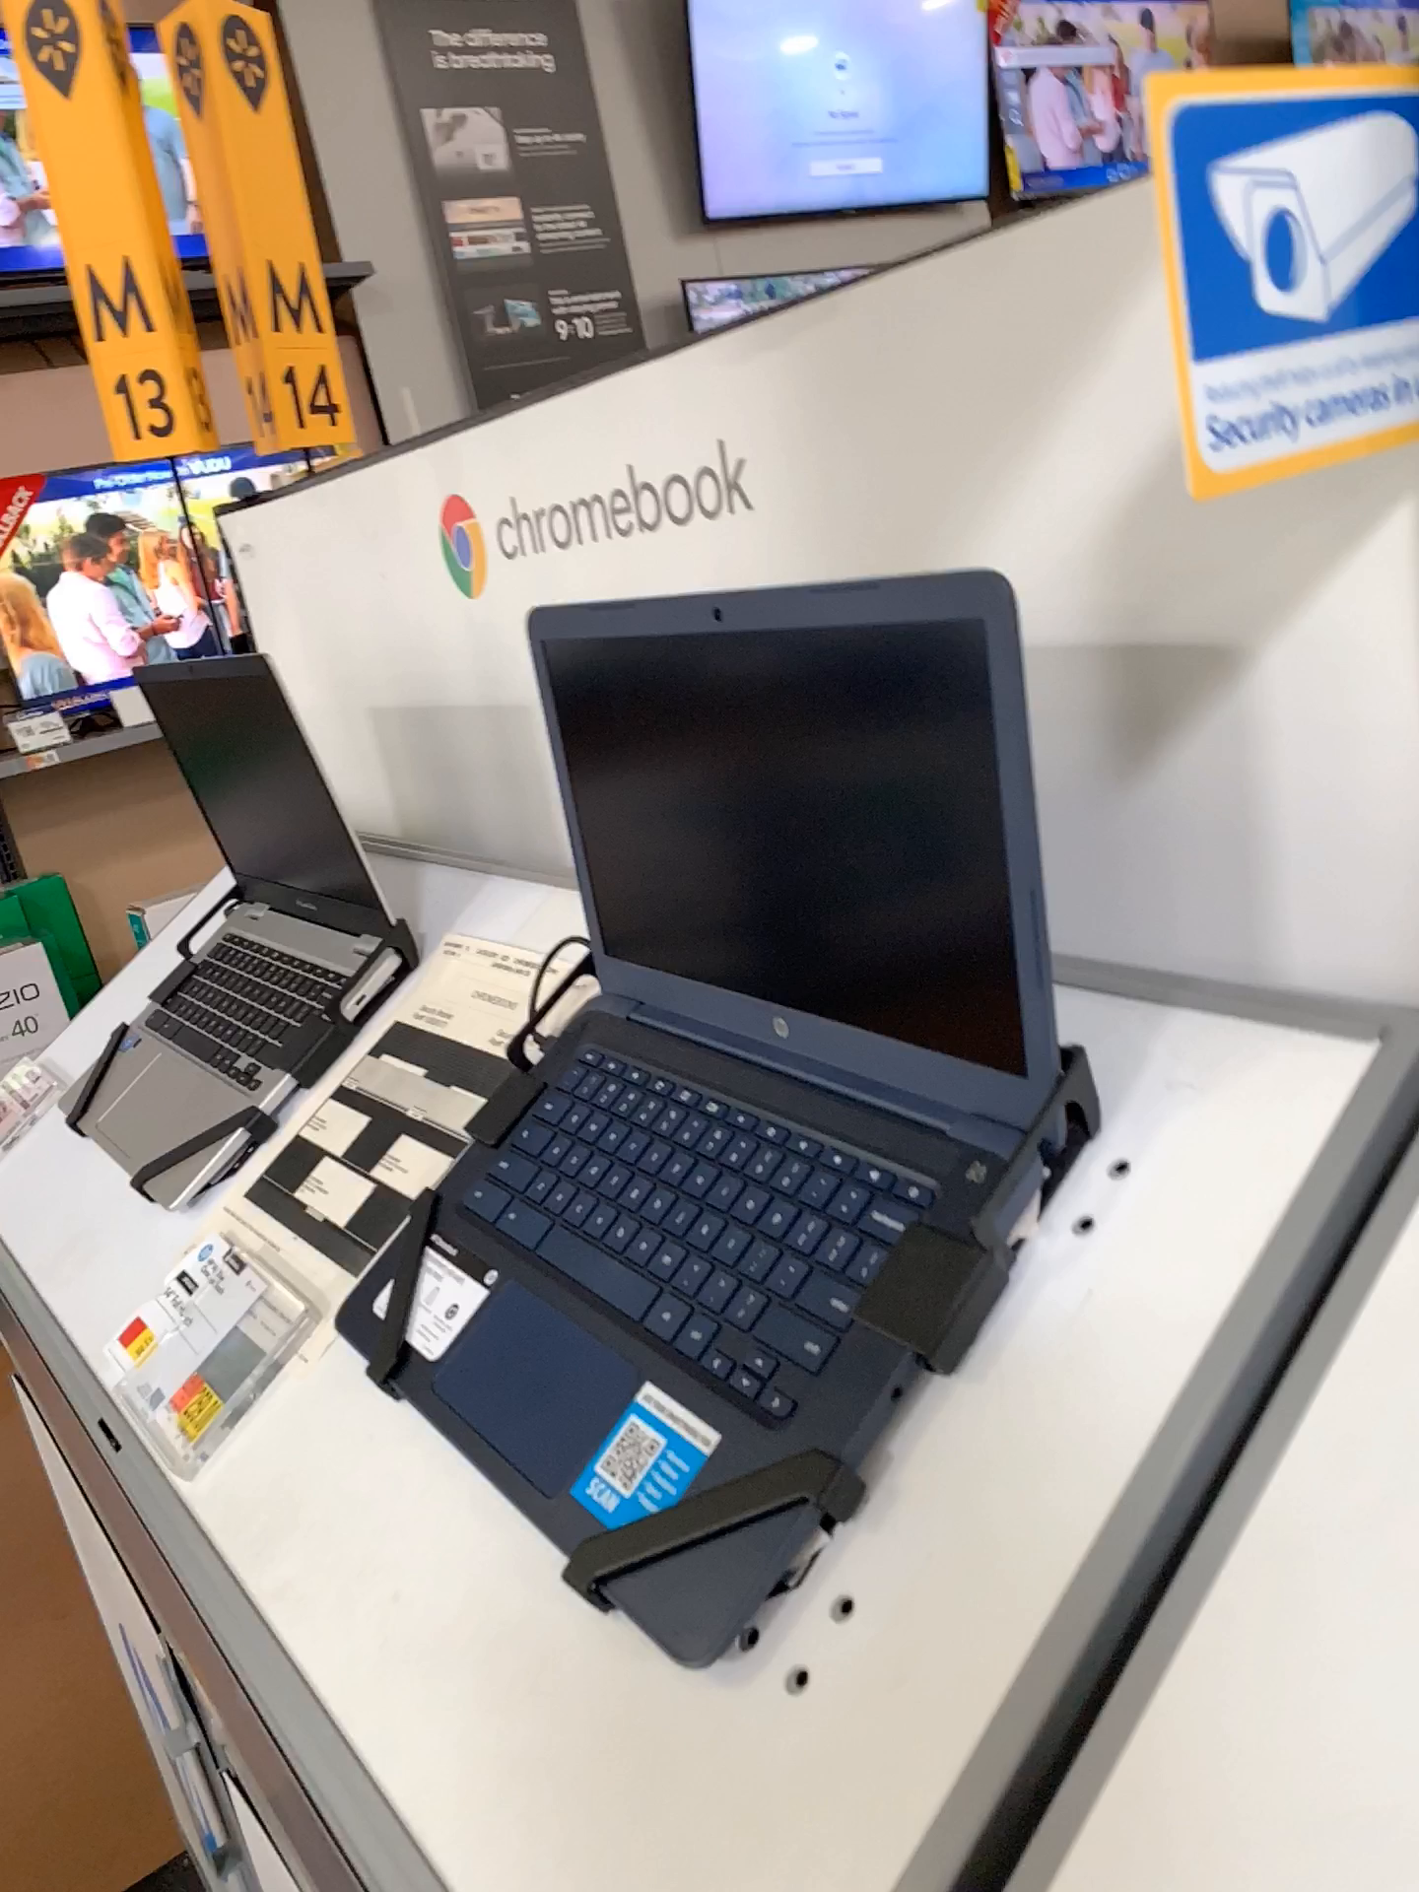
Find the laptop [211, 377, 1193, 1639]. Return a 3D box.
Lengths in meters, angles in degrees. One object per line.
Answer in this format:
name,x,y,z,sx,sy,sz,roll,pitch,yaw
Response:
laptop,-0.021,-0.008,0.624,0.322,0.190,0.318,-43,29,-21
